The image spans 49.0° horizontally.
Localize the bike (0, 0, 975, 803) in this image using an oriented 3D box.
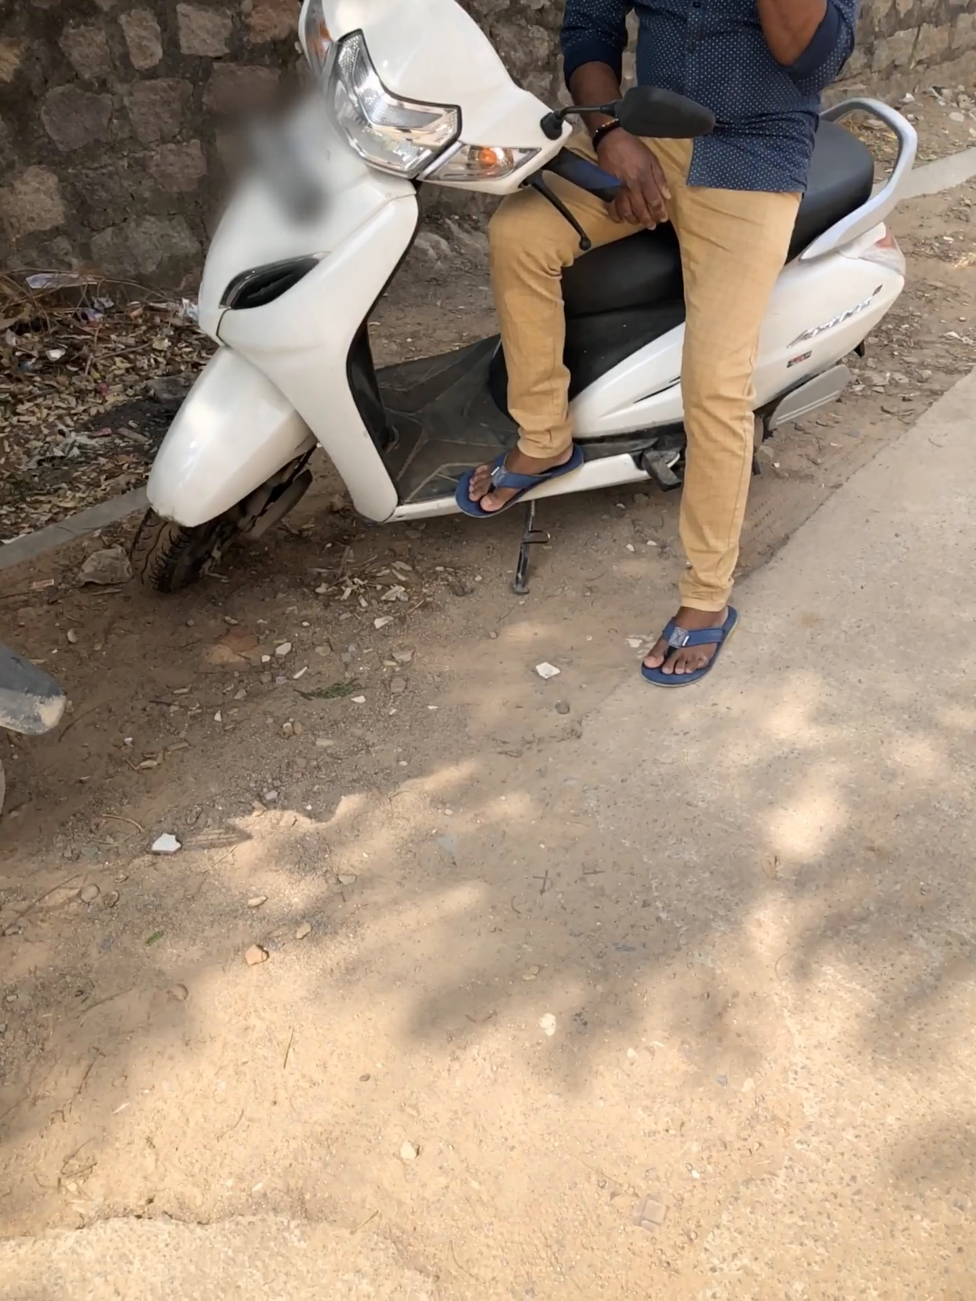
[{"bbox_3d":[0.105,-0.620,1.936,1.593,1.199,0.623,-19,41,-24],"label":"bike"}]
